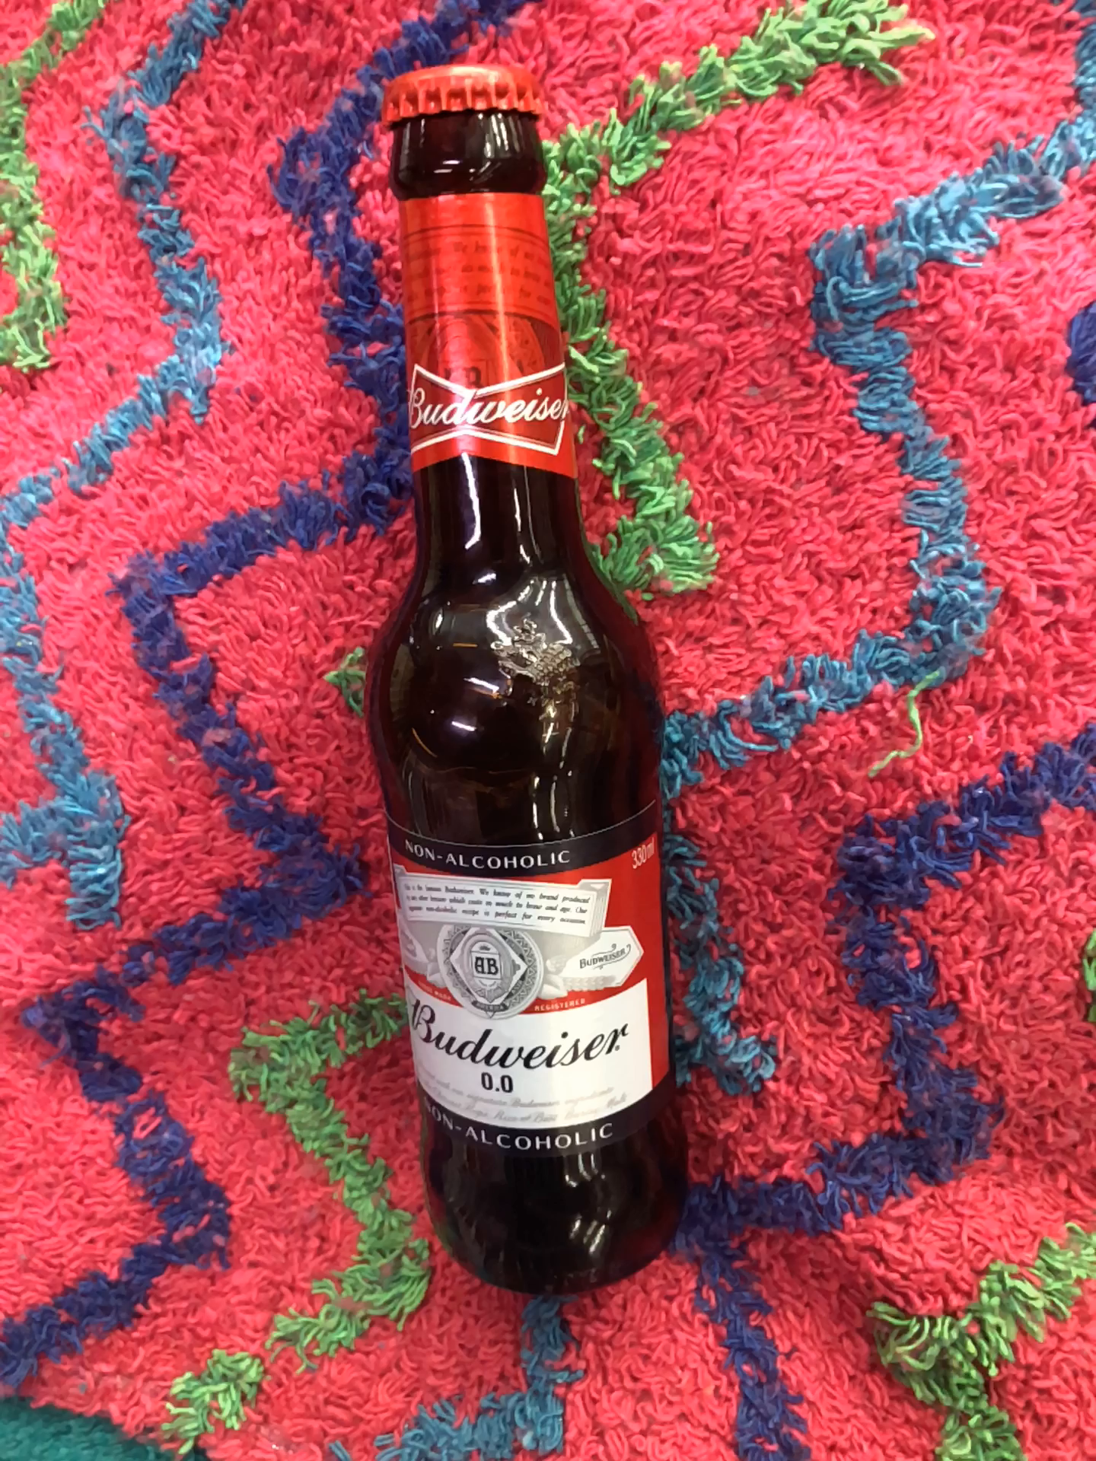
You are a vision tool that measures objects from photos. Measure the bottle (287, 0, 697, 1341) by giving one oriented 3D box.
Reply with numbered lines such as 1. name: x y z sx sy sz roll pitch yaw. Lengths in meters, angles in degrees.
1. bottle: -0.005 -0.004 0.253 0.060 0.050 0.250 2 103 17
